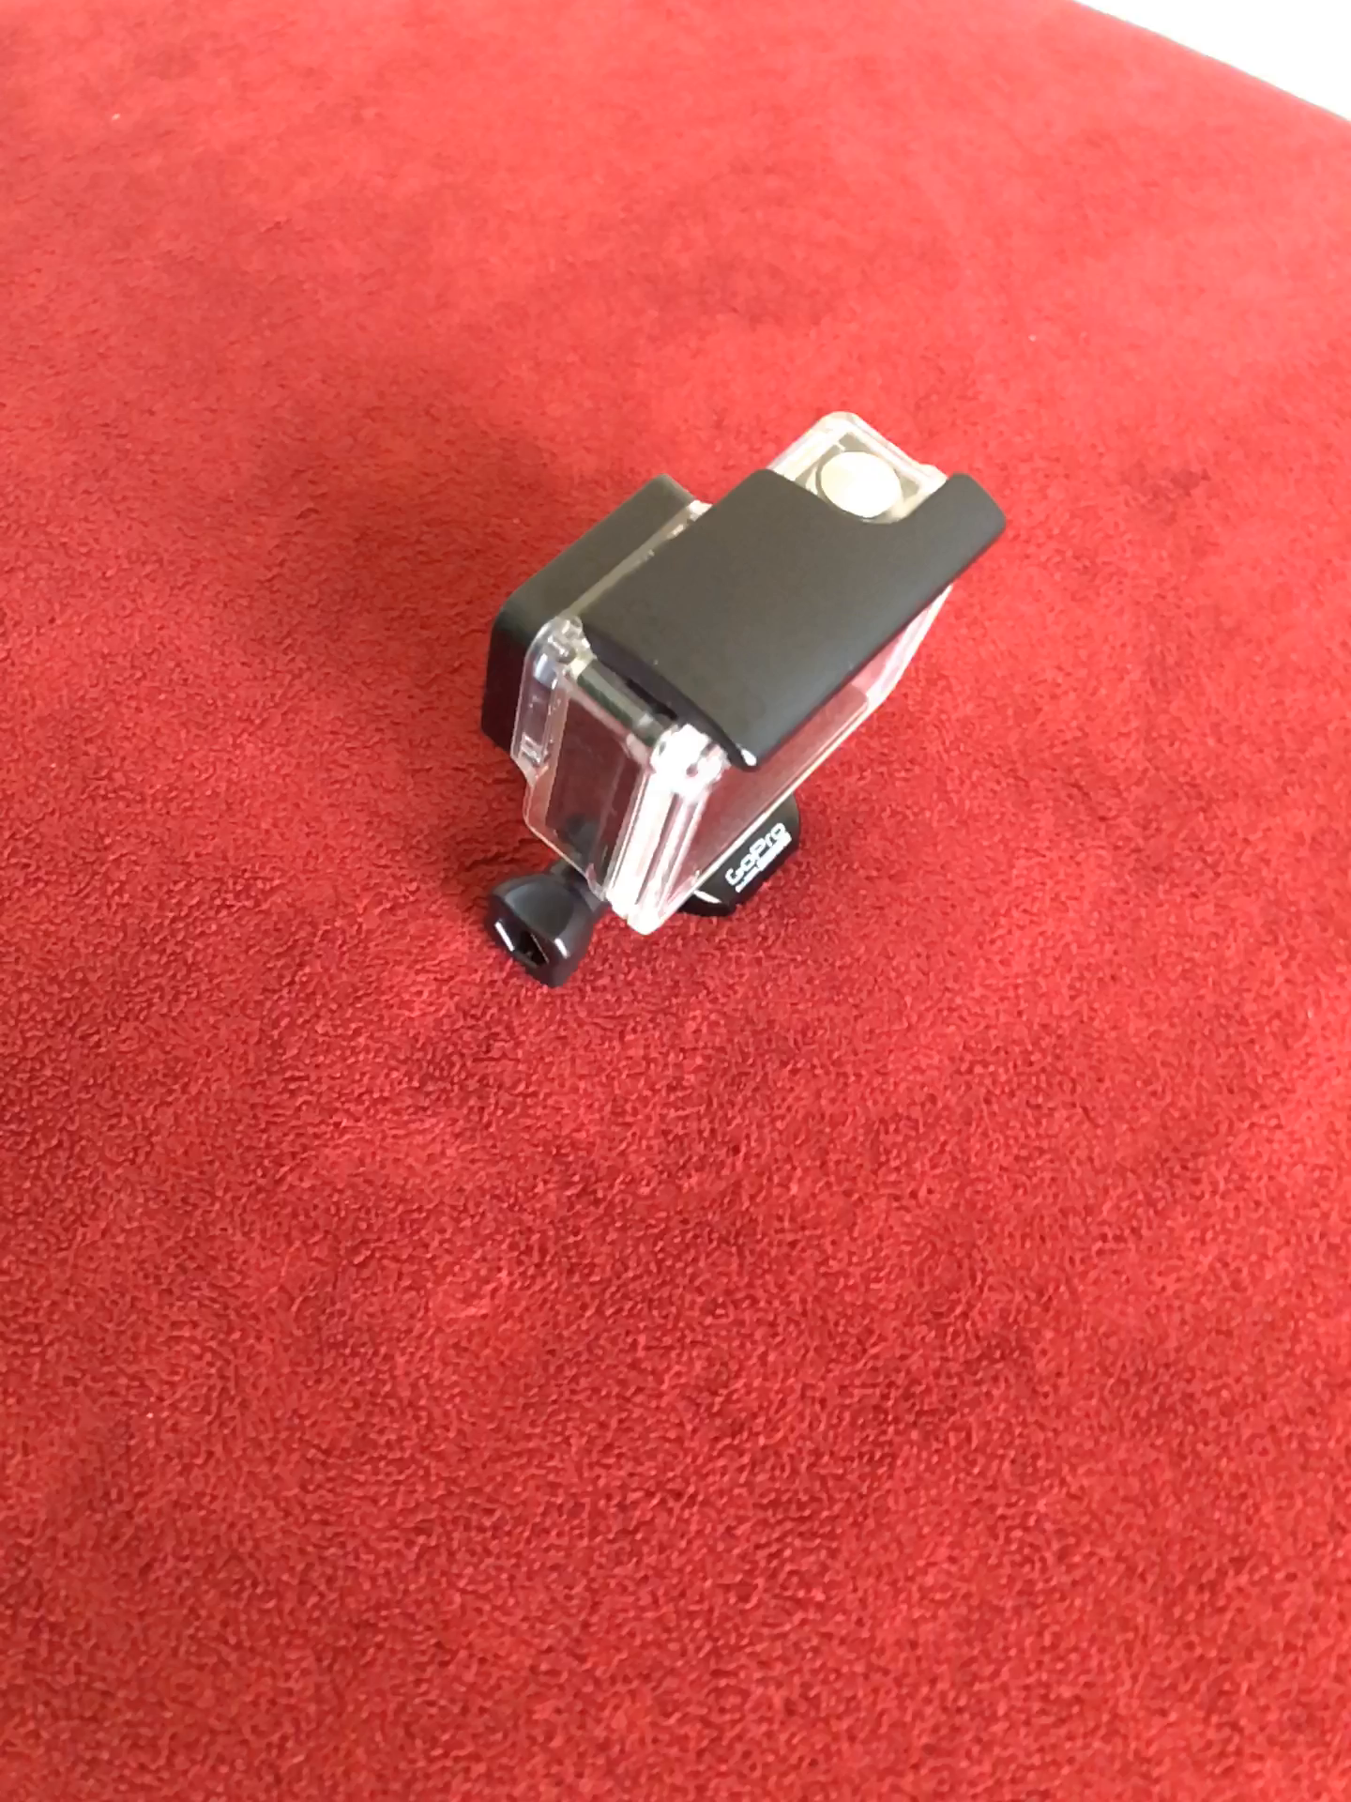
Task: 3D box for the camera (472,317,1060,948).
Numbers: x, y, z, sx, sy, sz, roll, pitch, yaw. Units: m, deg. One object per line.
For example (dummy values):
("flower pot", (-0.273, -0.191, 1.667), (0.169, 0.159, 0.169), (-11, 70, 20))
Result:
("camera", (0.012, -0.039, 0.222), (0.040, 0.050, 0.073), (41, 60, 10))
